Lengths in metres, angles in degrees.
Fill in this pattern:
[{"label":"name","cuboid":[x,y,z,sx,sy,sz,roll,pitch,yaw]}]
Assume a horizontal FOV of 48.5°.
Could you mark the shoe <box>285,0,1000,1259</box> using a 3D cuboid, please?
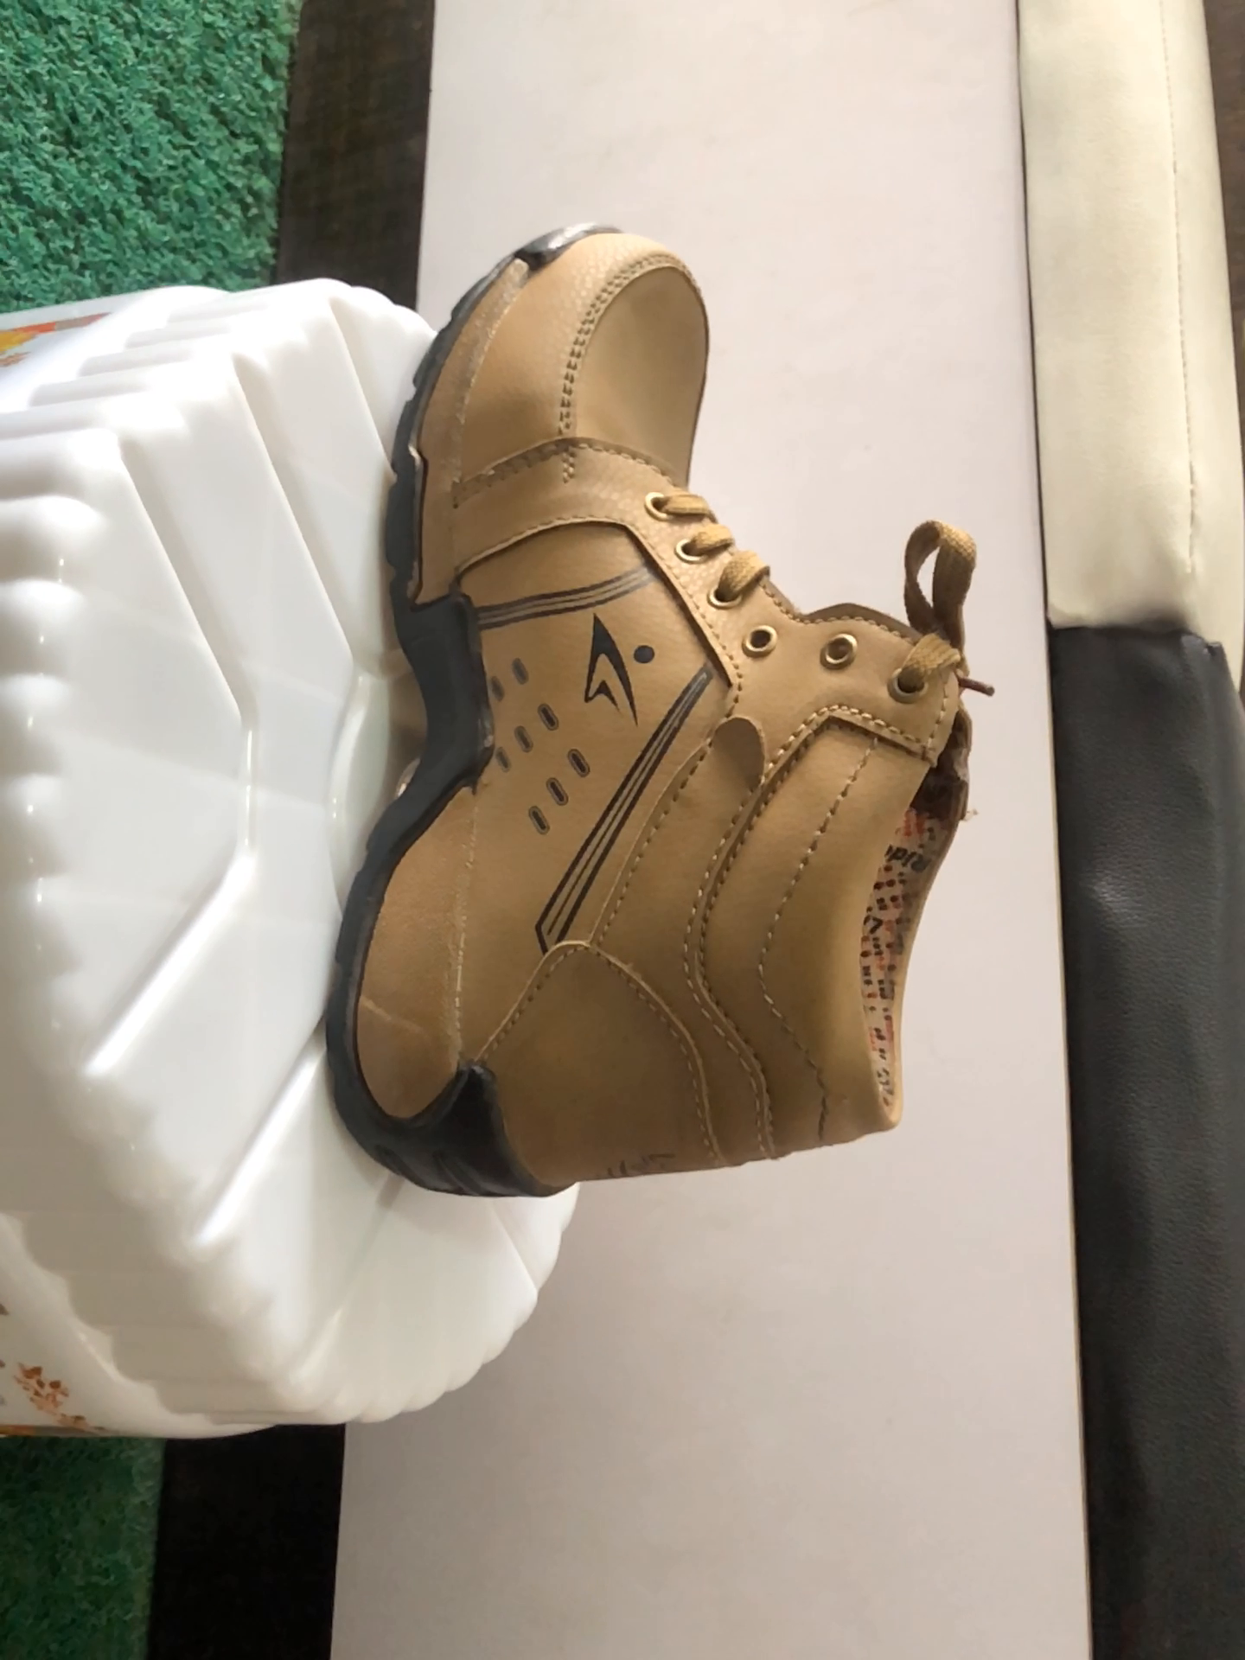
[{"label":"shoe","cuboid":[0.027,-0.057,0.350,0.141,0.109,0.300,44,47,-59]}]
